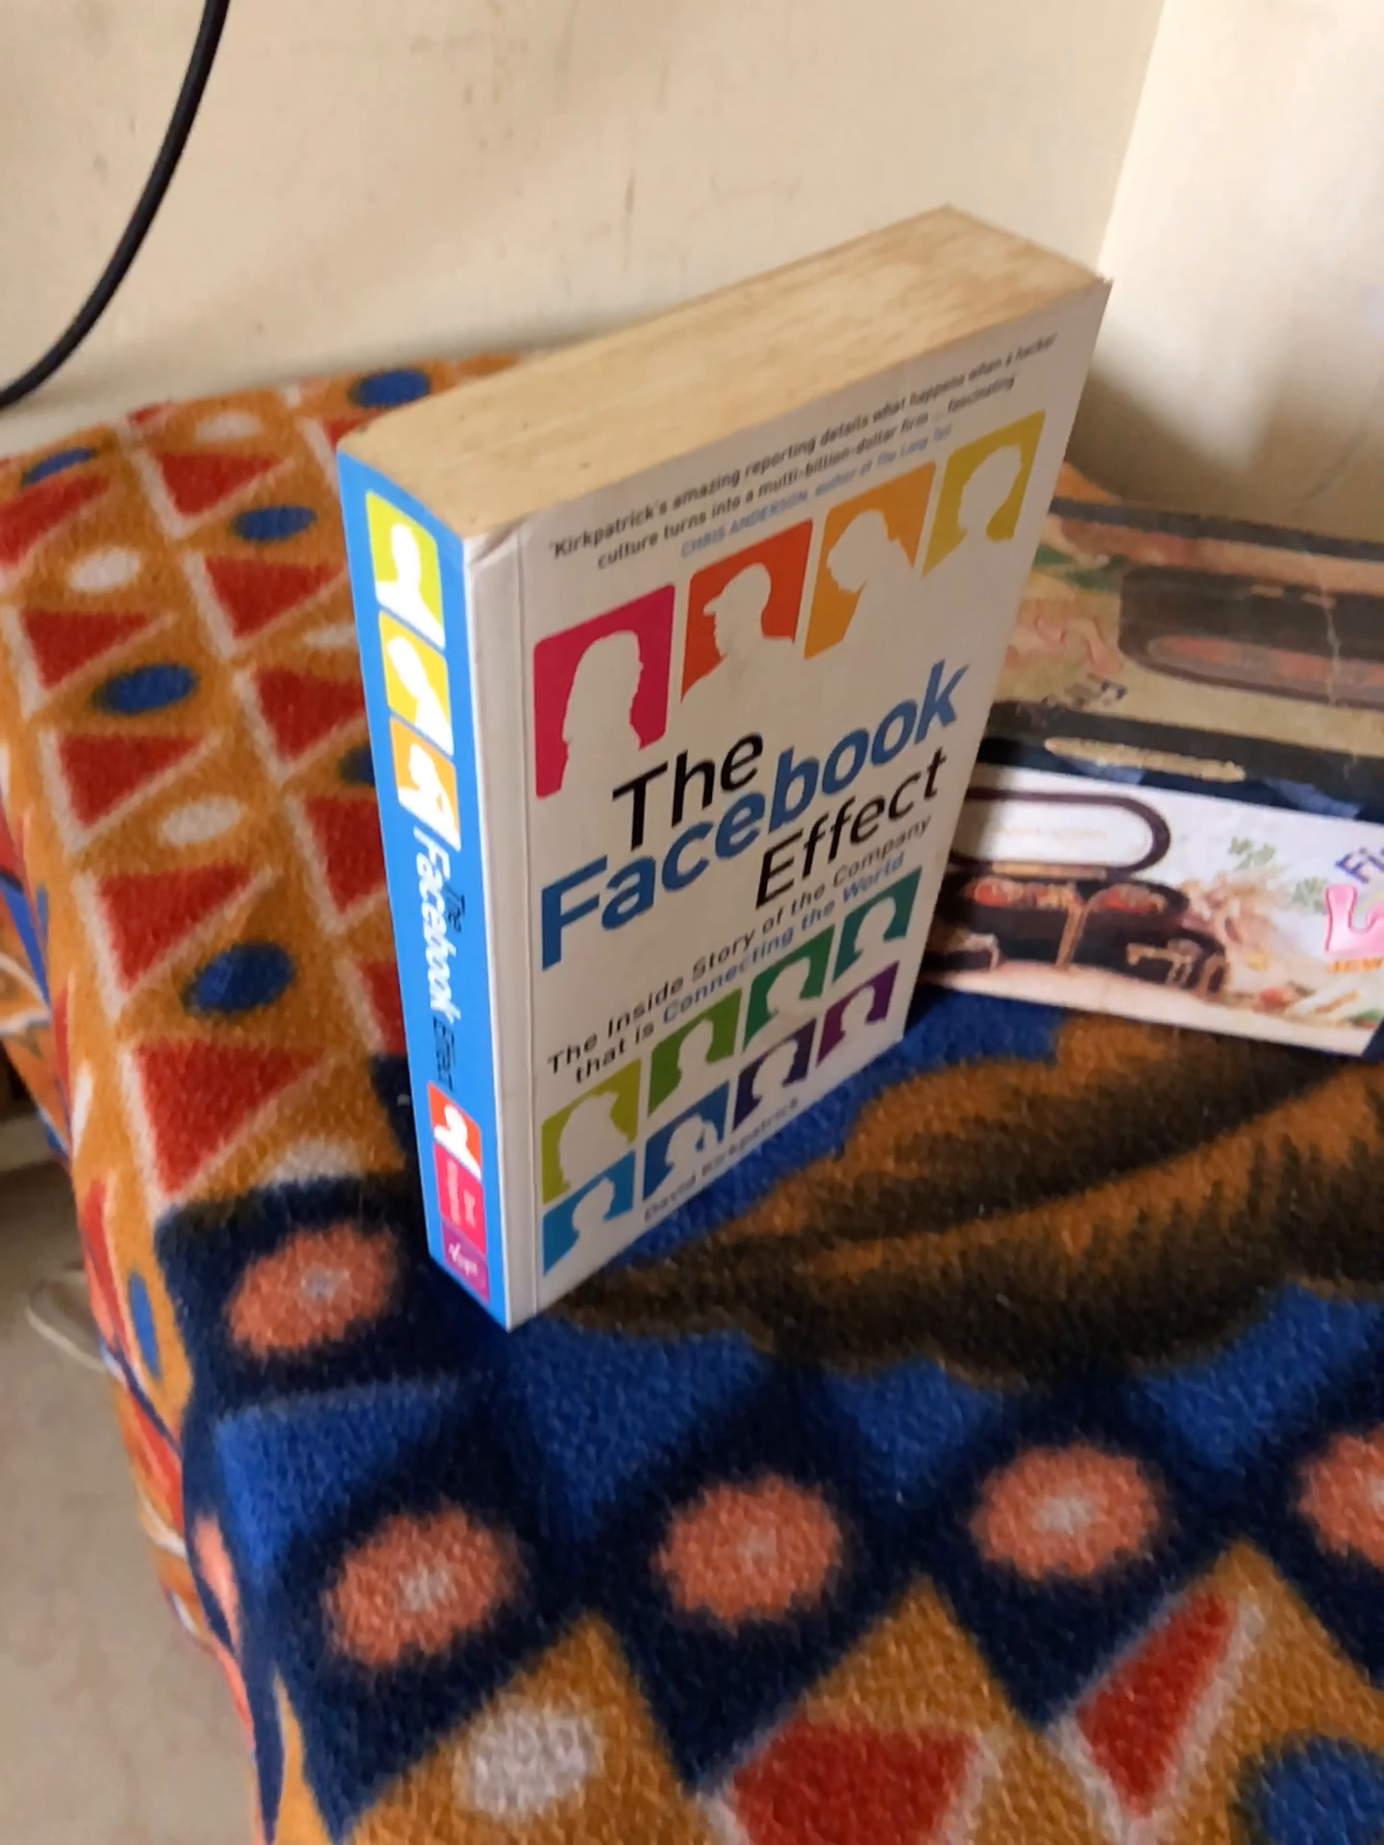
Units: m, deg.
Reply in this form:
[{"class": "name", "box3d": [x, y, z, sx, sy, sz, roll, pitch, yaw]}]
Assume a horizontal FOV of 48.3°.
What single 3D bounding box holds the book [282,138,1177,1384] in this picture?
[{"class": "book", "box3d": [0.008, -0.021, 0.311, 0.150, 0.219, 0.040, -32, 55, -31]}]
